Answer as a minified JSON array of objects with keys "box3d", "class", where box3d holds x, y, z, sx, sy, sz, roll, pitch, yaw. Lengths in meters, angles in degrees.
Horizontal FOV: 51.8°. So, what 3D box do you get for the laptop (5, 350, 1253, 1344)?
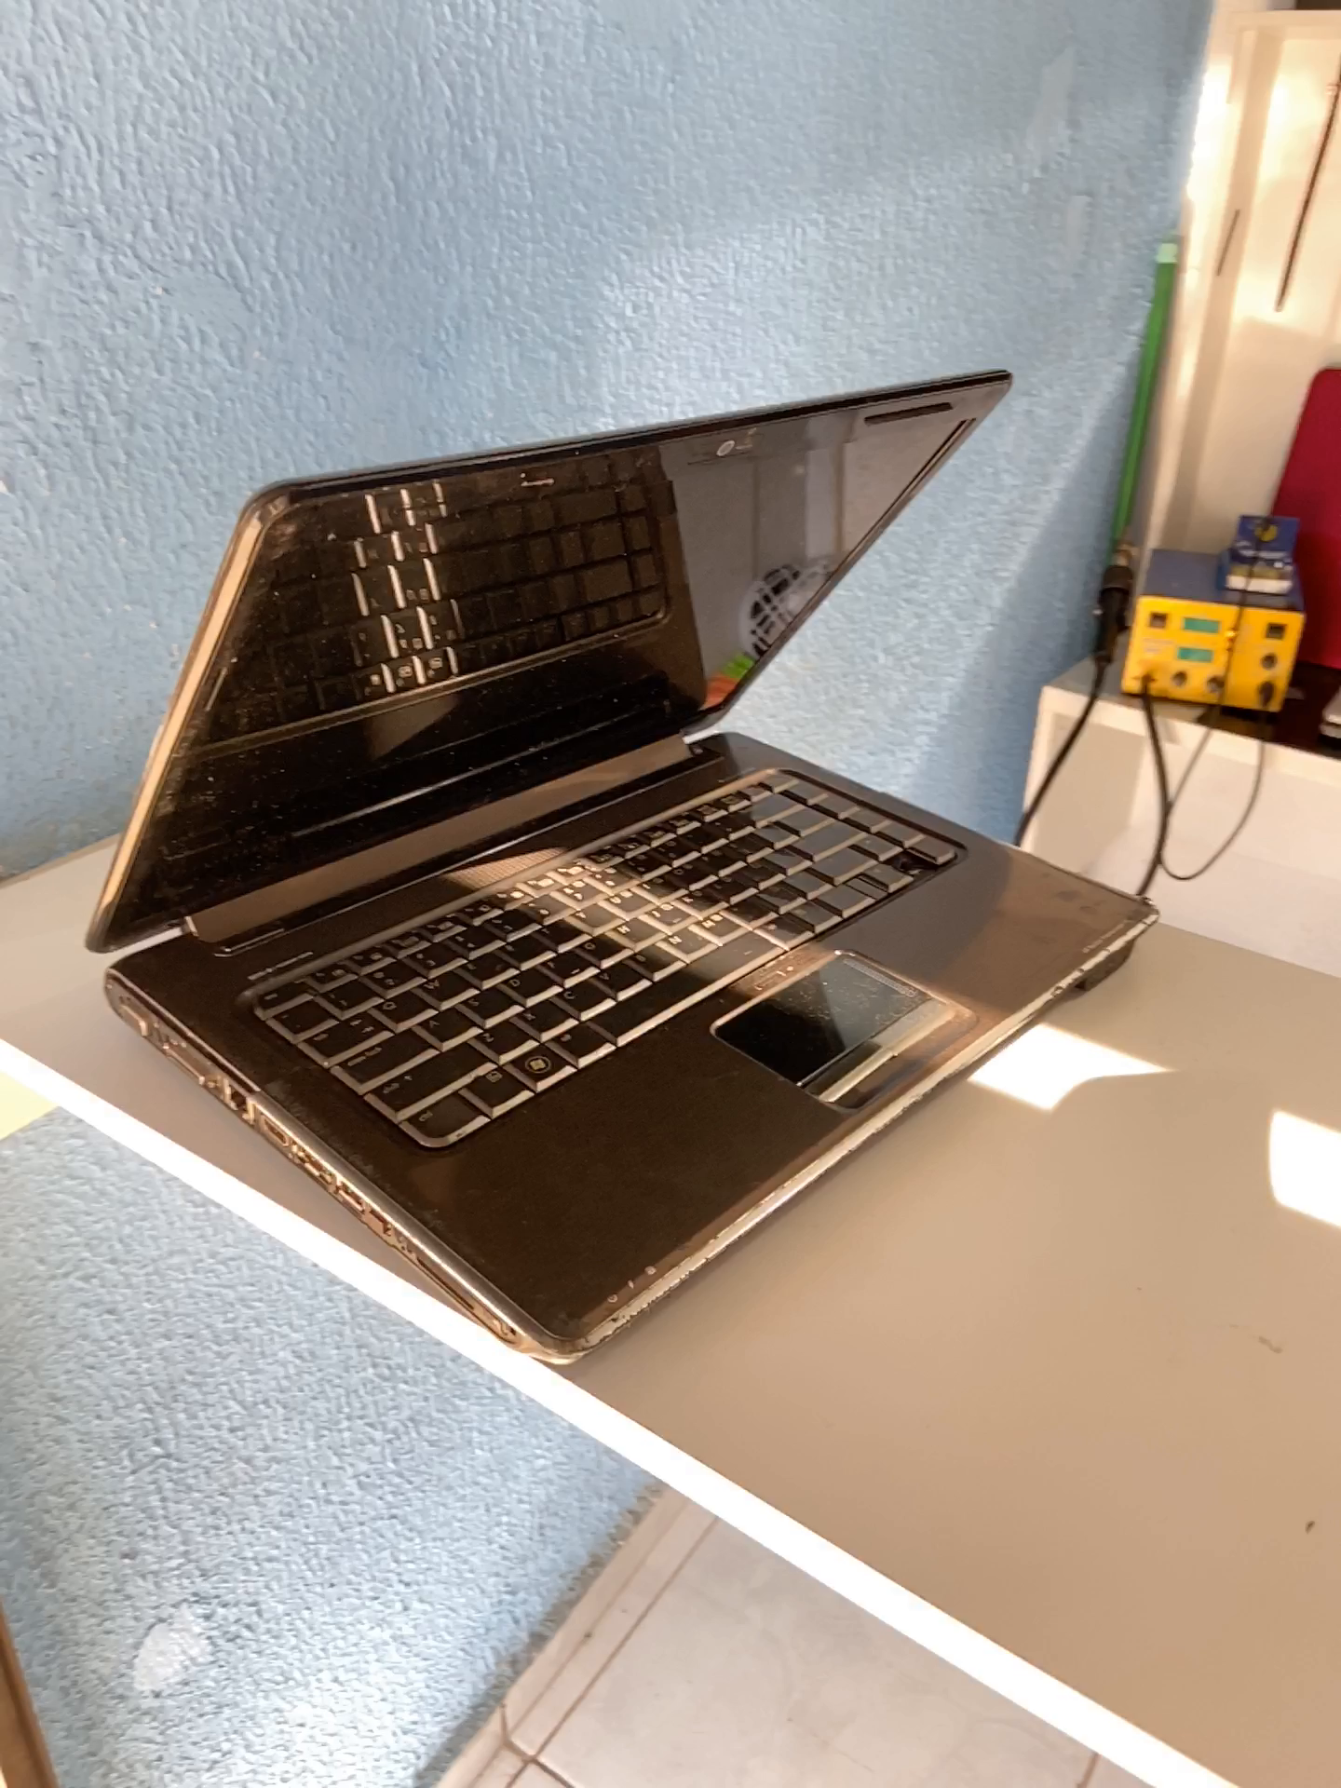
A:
[{"box3d":[0.003,-0.068,0.503,0.245,0.190,0.345,26,36,36],"class":"laptop"}]
